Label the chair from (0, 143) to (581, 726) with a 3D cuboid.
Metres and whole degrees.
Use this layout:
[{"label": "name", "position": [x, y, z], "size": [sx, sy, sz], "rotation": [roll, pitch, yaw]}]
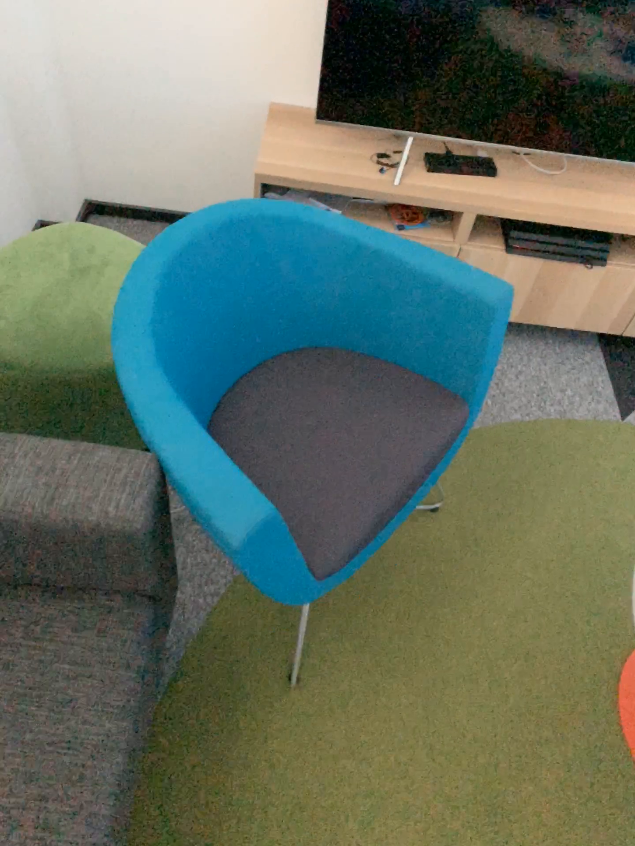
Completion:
[{"label": "chair", "position": [-0.038, 0.008, 1.326], "size": [0.621, 0.687, 0.763], "rotation": [35, 56, 18]}]
